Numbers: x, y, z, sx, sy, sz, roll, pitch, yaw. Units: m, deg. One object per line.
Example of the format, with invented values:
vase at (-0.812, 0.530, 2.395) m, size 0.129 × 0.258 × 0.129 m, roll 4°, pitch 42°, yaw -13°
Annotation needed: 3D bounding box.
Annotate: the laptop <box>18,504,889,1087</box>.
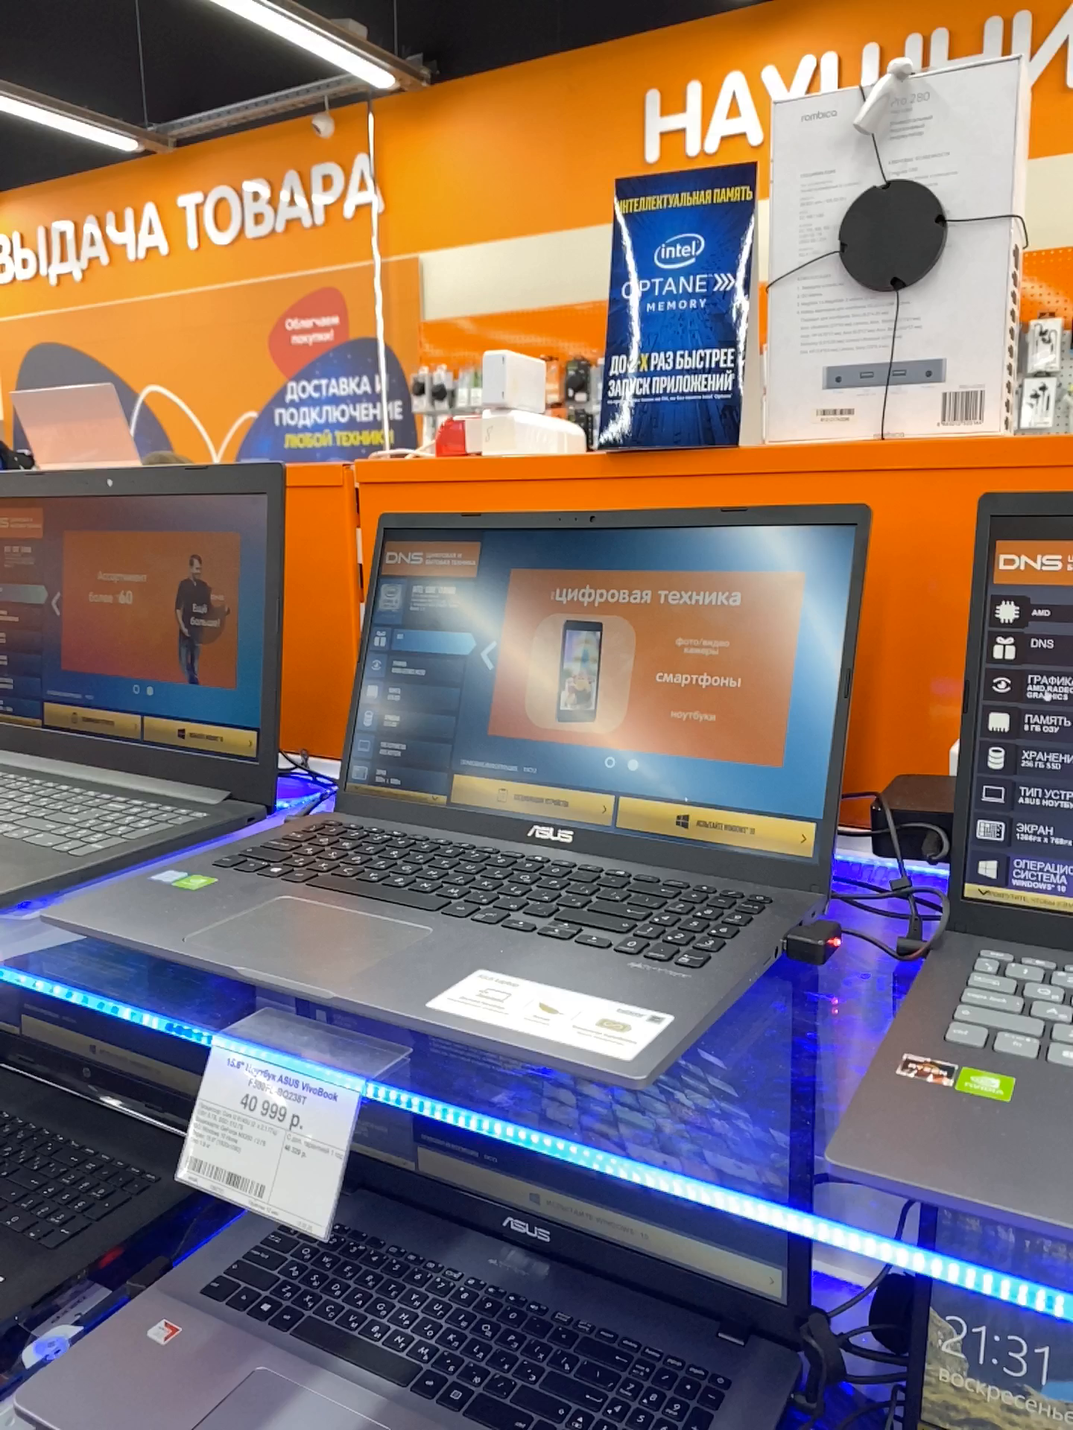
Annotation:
laptop at (-0.029, -0.006, 0.610) m, size 0.358 × 0.211 × 0.306 m, roll 5°, pitch 12°, yaw 30°
